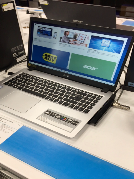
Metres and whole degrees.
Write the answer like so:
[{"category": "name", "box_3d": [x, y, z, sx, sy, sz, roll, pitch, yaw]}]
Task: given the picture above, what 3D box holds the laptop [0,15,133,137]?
[{"category": "laptop", "box_3d": [-0.059, -0.075, 0.572, 0.373, 0.197, 0.319, 21, 48, 24]}]
